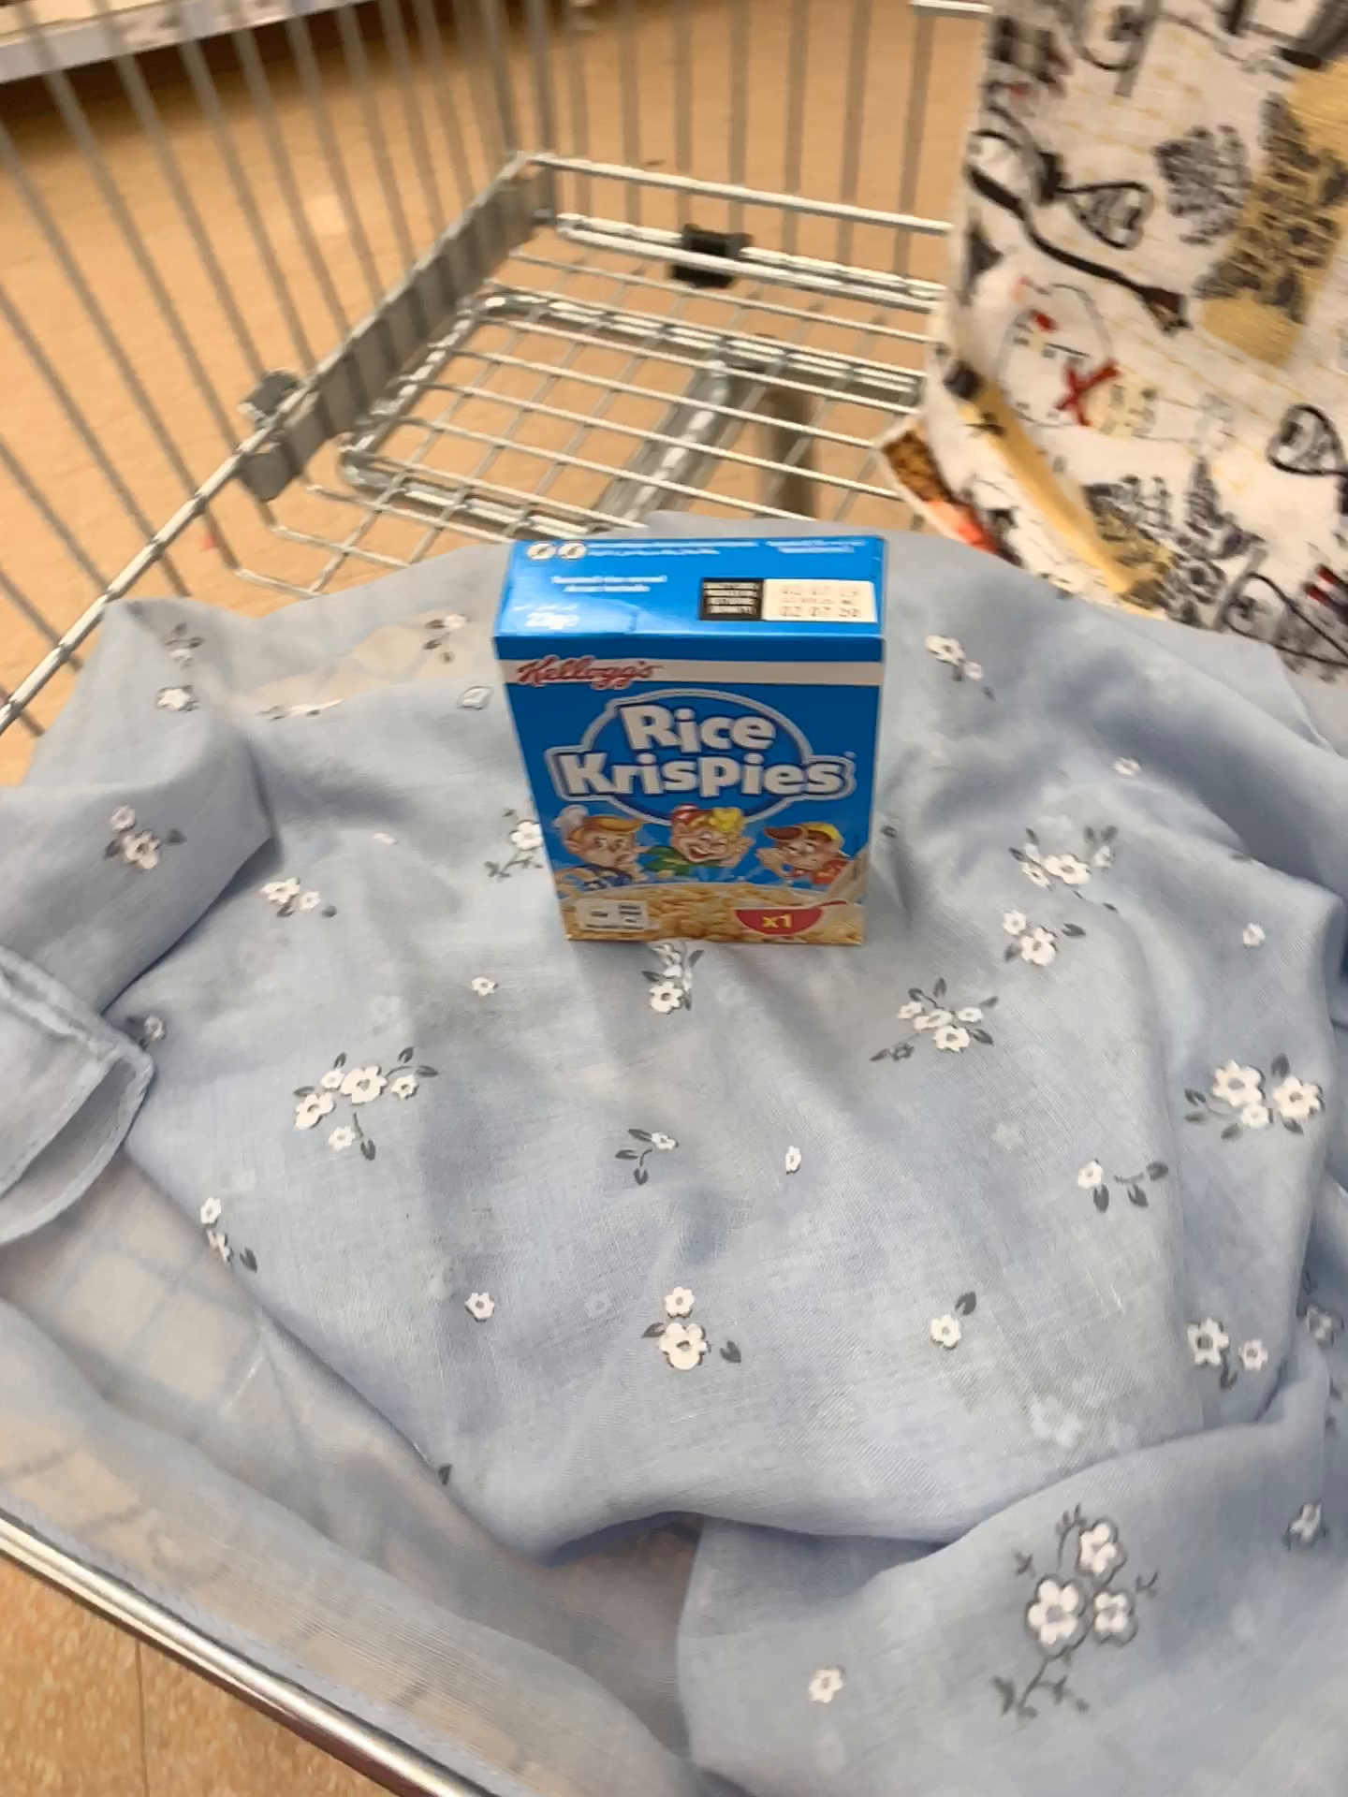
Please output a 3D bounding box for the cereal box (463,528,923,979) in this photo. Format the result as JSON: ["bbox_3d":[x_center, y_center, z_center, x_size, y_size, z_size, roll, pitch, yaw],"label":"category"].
[{"bbox_3d":[0.010,-0.030,0.370,0.100,0.139,0.040,0,57,5],"label":"cereal box"}]
